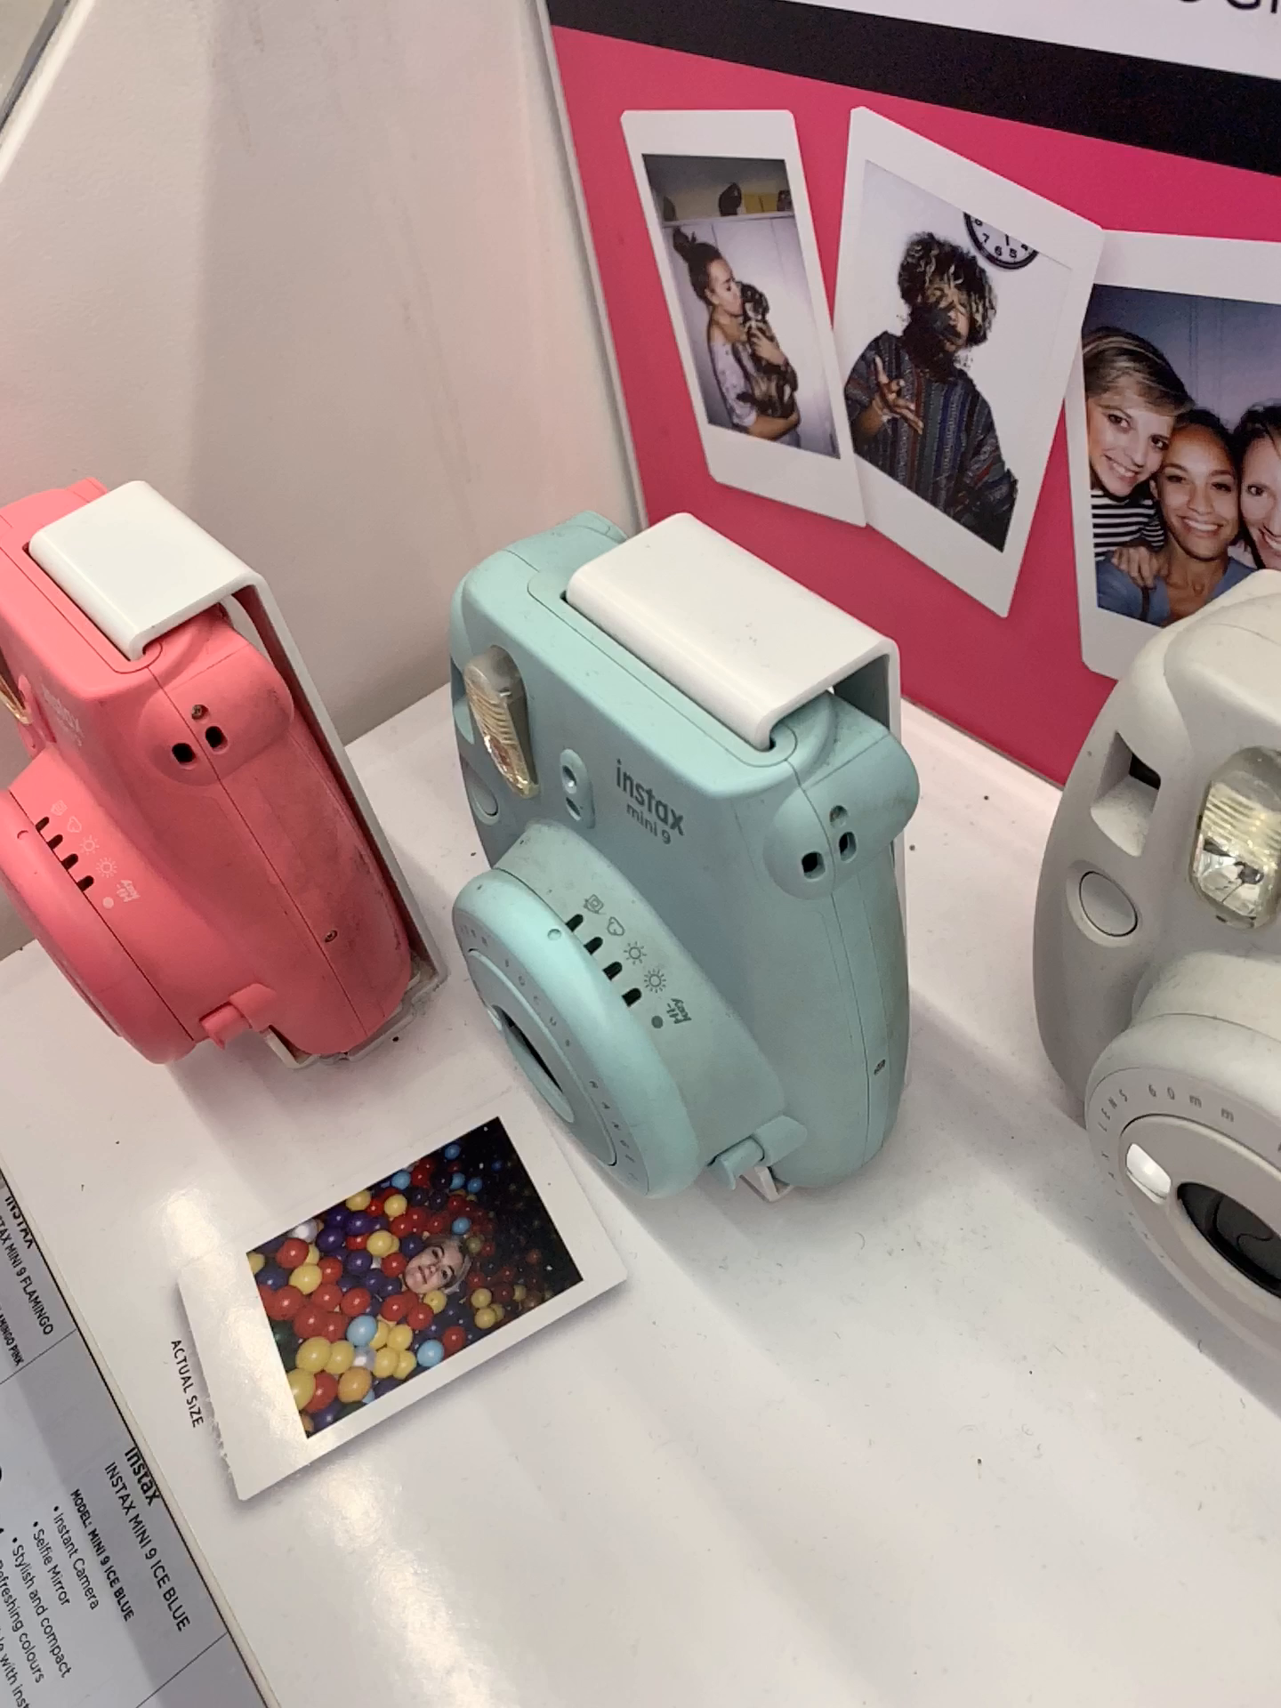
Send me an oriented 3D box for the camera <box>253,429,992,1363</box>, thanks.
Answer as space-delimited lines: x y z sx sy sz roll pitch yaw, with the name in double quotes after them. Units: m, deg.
0.001 0.009 0.258 0.070 0.129 0.111 -32 49 -17 "camera"
